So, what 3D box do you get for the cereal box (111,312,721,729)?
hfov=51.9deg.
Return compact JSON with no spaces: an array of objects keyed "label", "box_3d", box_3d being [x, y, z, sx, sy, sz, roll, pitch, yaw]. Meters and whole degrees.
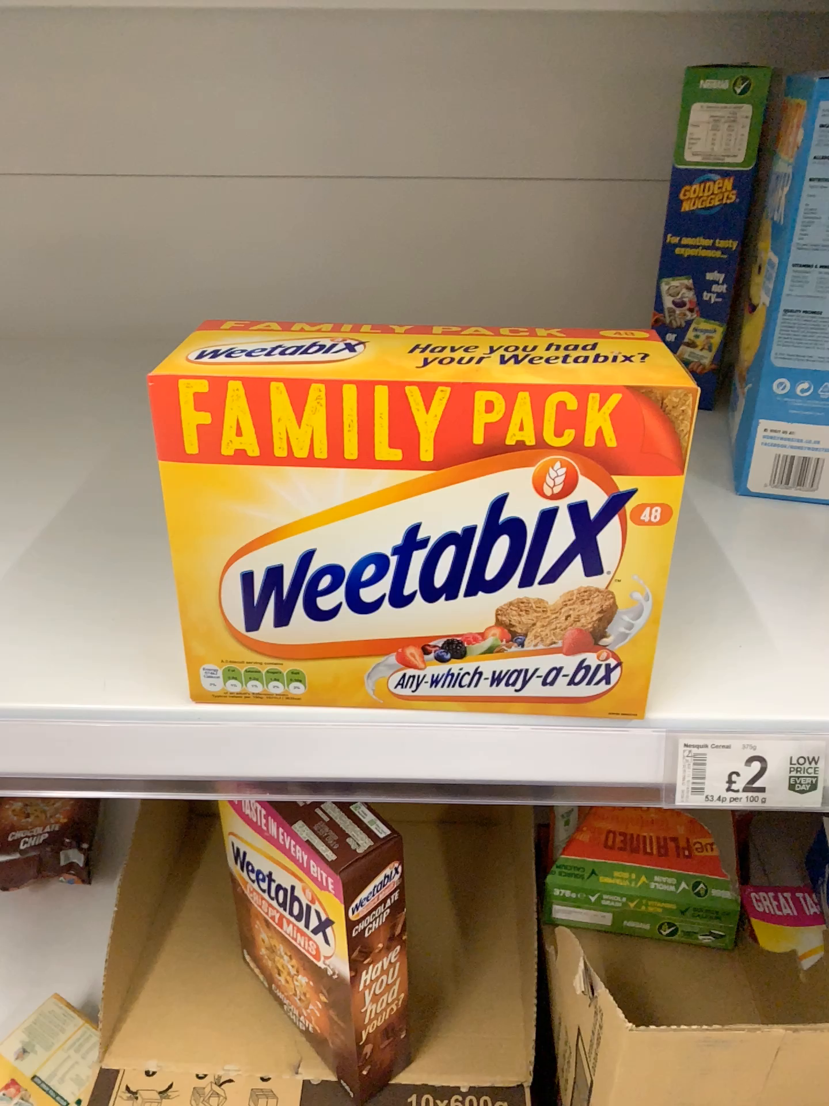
[{"label":"cereal box","box_3d":[0.000,-0.017,0.447,0.260,0.188,0.091,2,29,3]}]
